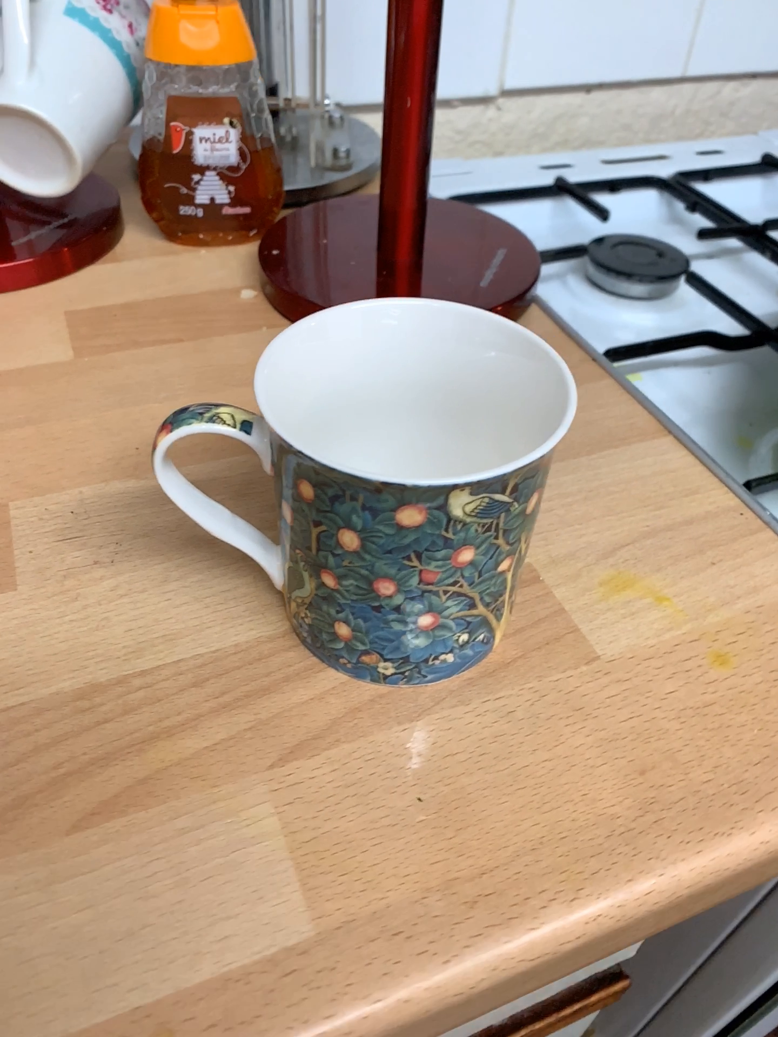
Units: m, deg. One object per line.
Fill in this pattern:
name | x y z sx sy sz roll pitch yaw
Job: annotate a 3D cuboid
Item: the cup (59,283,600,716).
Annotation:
cup | -0.017 -0.007 0.243 0.120 0.089 0.091 -1 43 -6
